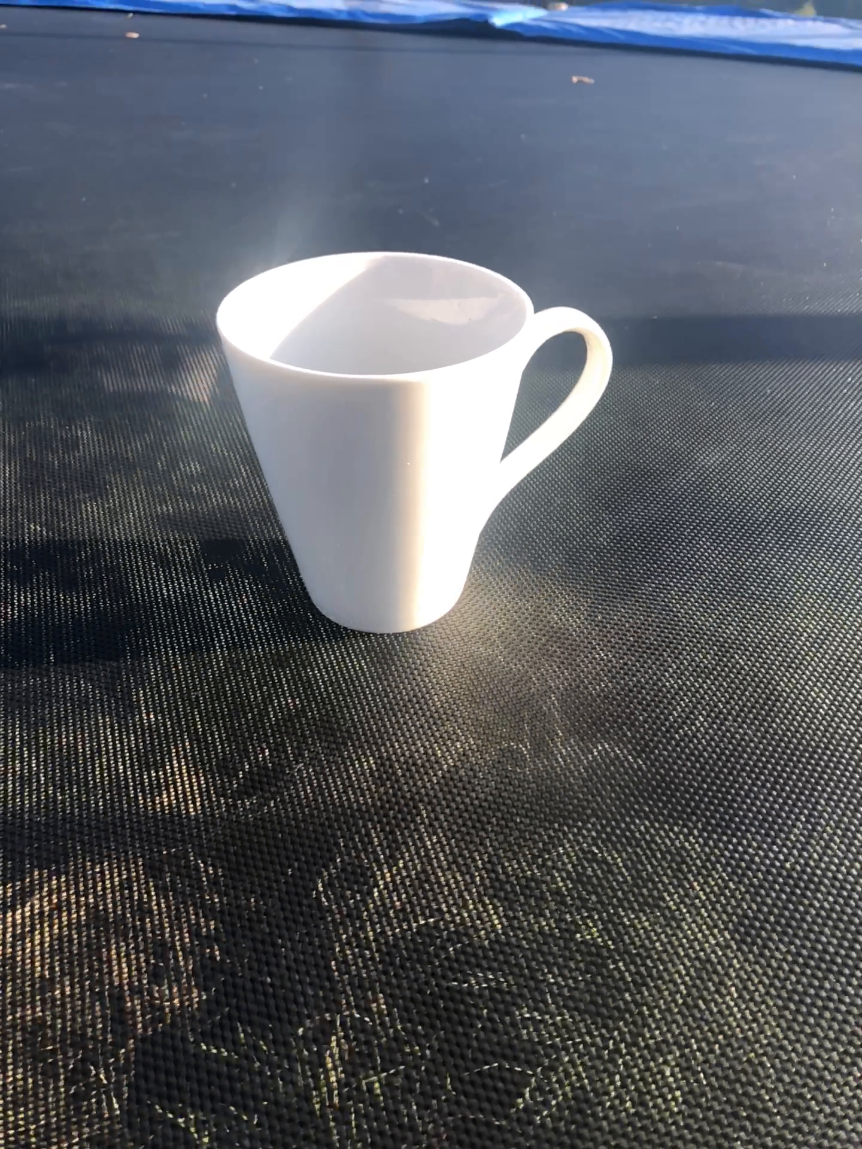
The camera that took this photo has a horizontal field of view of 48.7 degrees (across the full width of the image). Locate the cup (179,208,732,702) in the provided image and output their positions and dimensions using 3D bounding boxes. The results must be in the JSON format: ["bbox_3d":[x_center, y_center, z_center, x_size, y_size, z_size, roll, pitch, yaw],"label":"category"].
[{"bbox_3d":[0.003,-0.044,0.297,0.130,0.094,0.097,-15,39,-16],"label":"cup"}]
